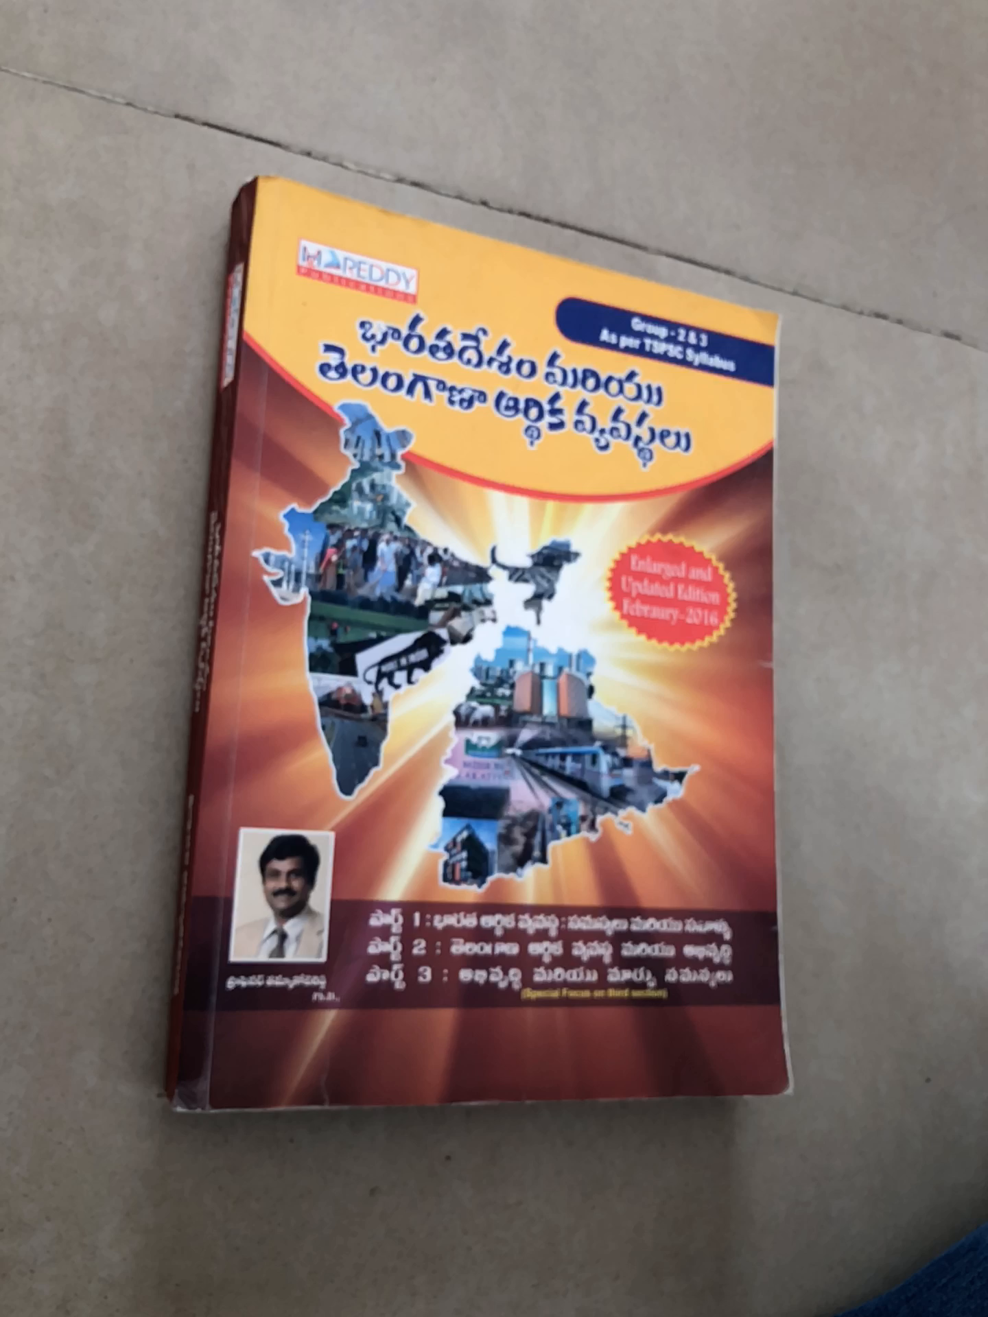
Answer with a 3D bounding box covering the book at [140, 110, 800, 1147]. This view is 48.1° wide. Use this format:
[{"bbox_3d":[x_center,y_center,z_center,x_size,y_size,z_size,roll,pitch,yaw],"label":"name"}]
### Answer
[{"bbox_3d":[0.004,-0.008,0.342,0.190,0.030,0.280,6,78,-22],"label":"book"}]
